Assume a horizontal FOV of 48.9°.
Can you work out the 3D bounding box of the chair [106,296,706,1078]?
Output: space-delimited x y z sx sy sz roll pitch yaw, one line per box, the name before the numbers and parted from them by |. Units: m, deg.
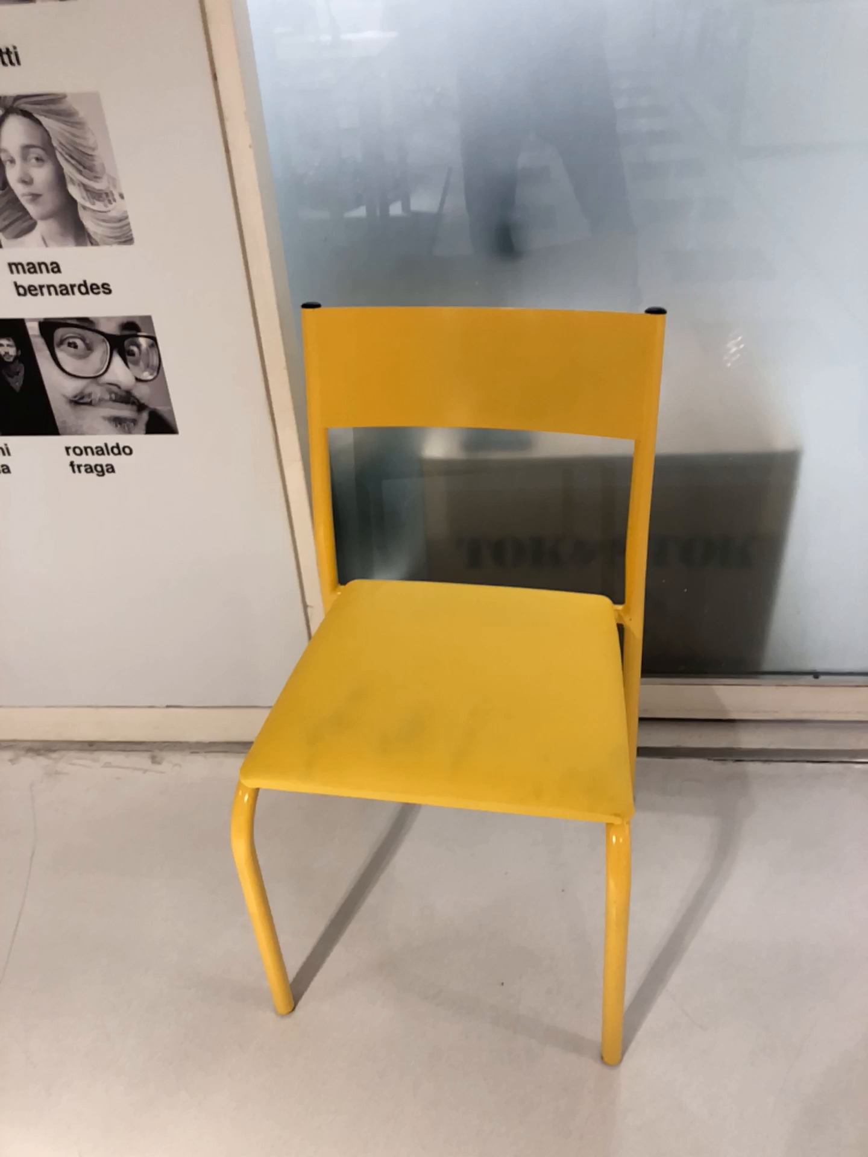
chair | 0.034 0.124 1.195 0.490 0.784 0.524 3 36 10
